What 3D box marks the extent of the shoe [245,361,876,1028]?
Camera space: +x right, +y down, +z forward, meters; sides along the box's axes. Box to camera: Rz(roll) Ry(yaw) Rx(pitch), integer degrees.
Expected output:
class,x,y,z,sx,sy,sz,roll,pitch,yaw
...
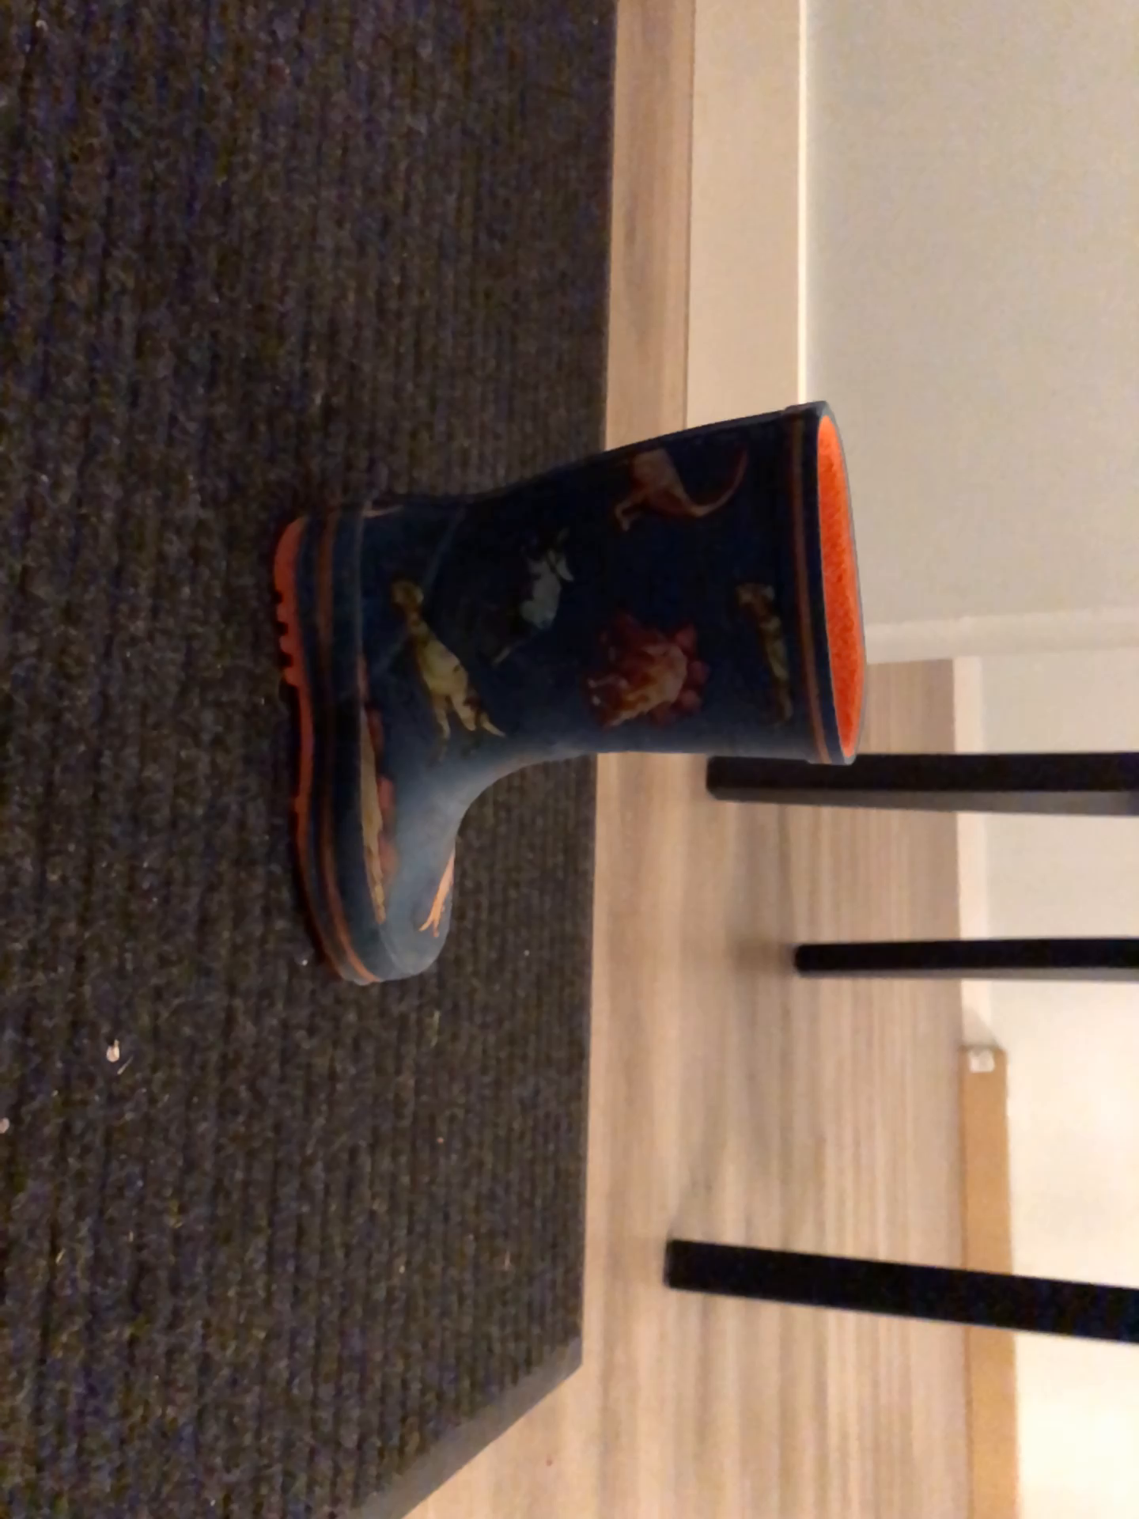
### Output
class,x,y,z,sx,sy,sz,roll,pitch,yaw
shoe,0.002,-0.018,0.426,0.080,0.179,0.190,-26,112,-70
